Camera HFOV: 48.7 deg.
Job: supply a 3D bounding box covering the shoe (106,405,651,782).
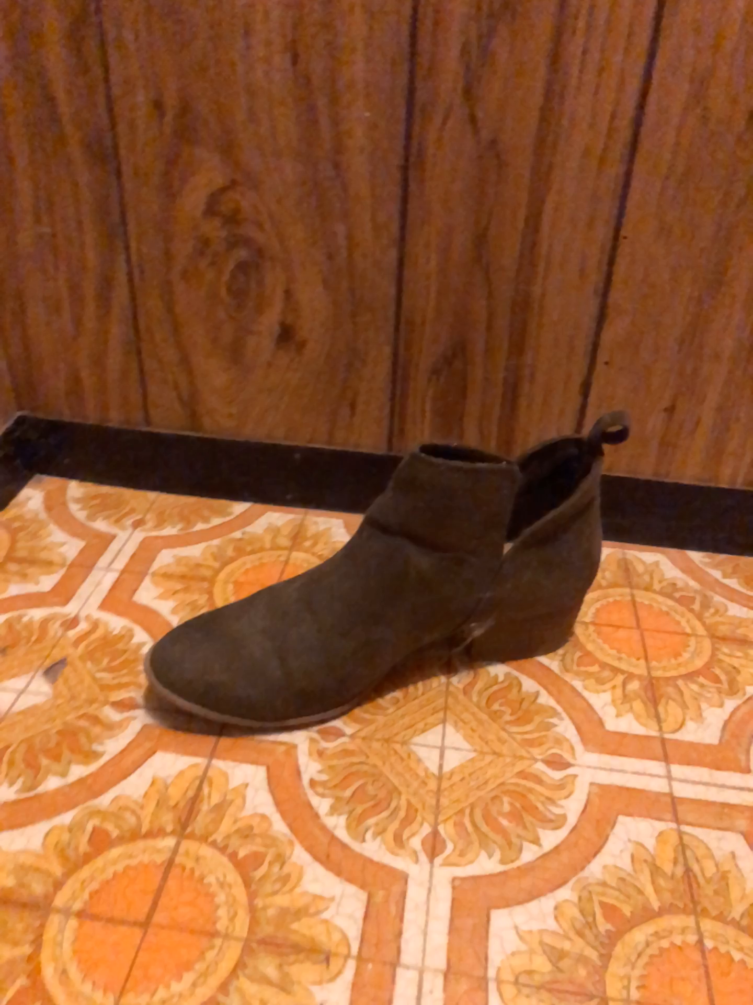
[{"bbox_3d":[0.002,0.039,0.447,0.260,0.130,0.080,-10,34,-20],"label":"shoe"}]
